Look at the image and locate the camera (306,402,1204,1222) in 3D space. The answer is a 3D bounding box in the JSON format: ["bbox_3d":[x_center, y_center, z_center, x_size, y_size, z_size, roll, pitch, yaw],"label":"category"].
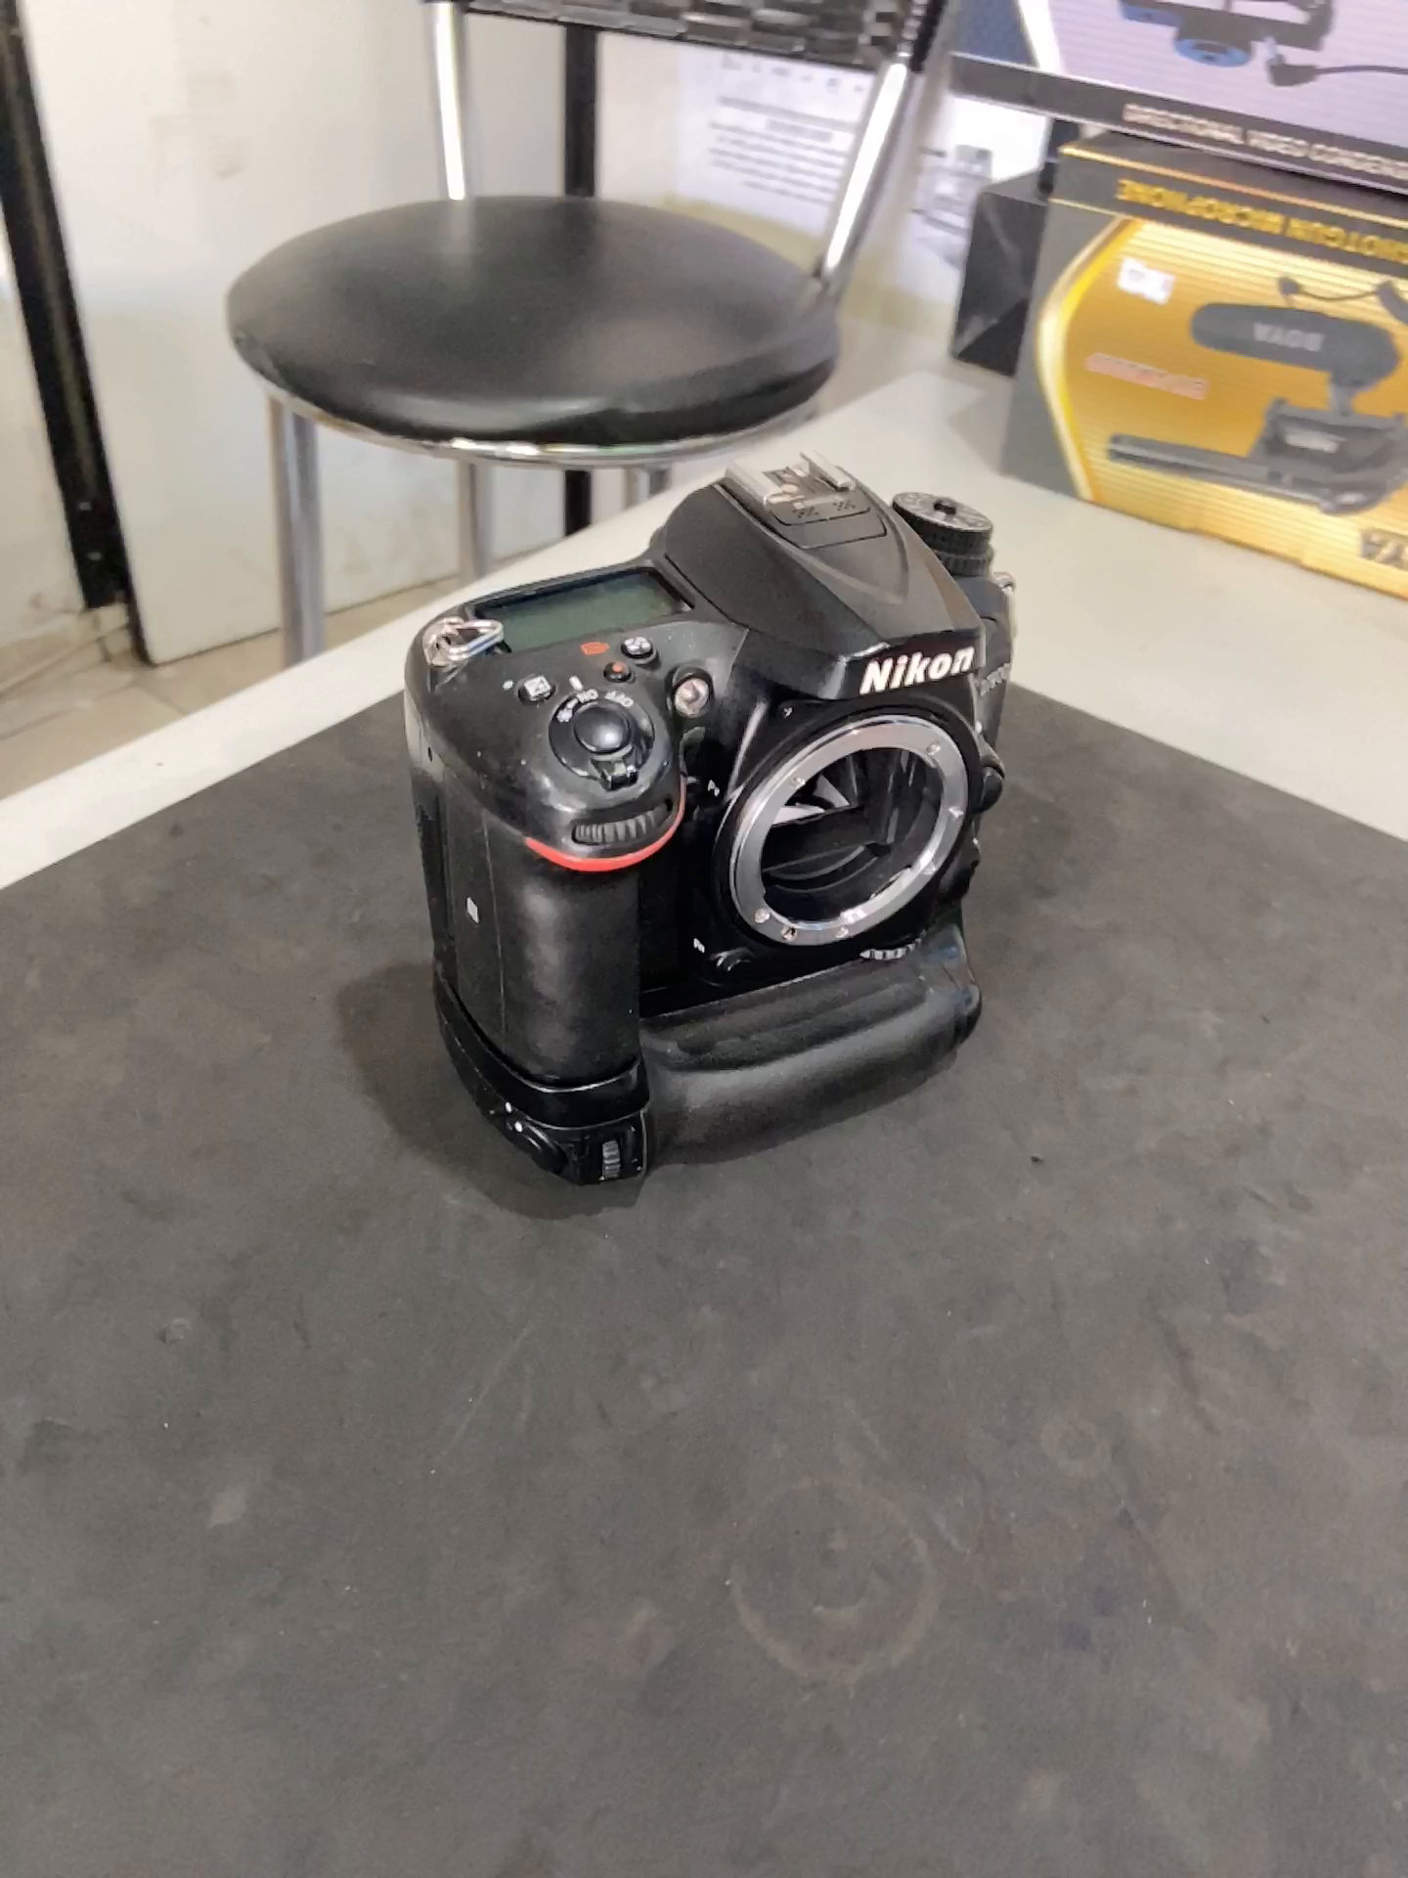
[{"bbox_3d":[0.005,-0.035,0.311,0.140,0.109,0.100,-16,44,-23],"label":"camera"}]
